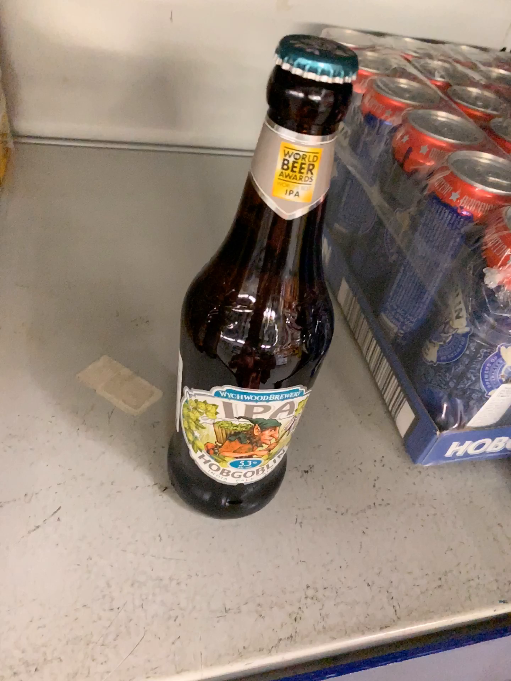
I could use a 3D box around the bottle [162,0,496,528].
[{"bbox_3d":[0.003,-0.009,0.251,0.080,0.249,0.080,7,43,-6],"label":"bottle"}]
